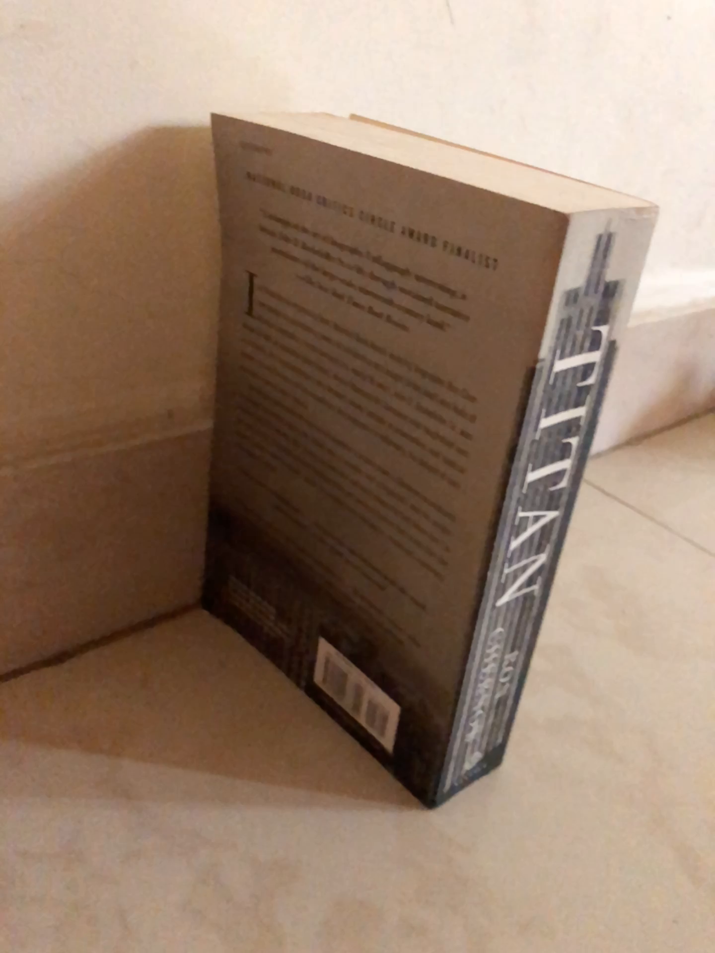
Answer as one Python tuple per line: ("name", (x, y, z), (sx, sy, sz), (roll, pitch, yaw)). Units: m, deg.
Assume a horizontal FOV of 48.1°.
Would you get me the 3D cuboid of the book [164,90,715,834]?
("book", (0.001, -0.016, 0.325), (0.060, 0.229, 0.200), (-20, 39, -38))
